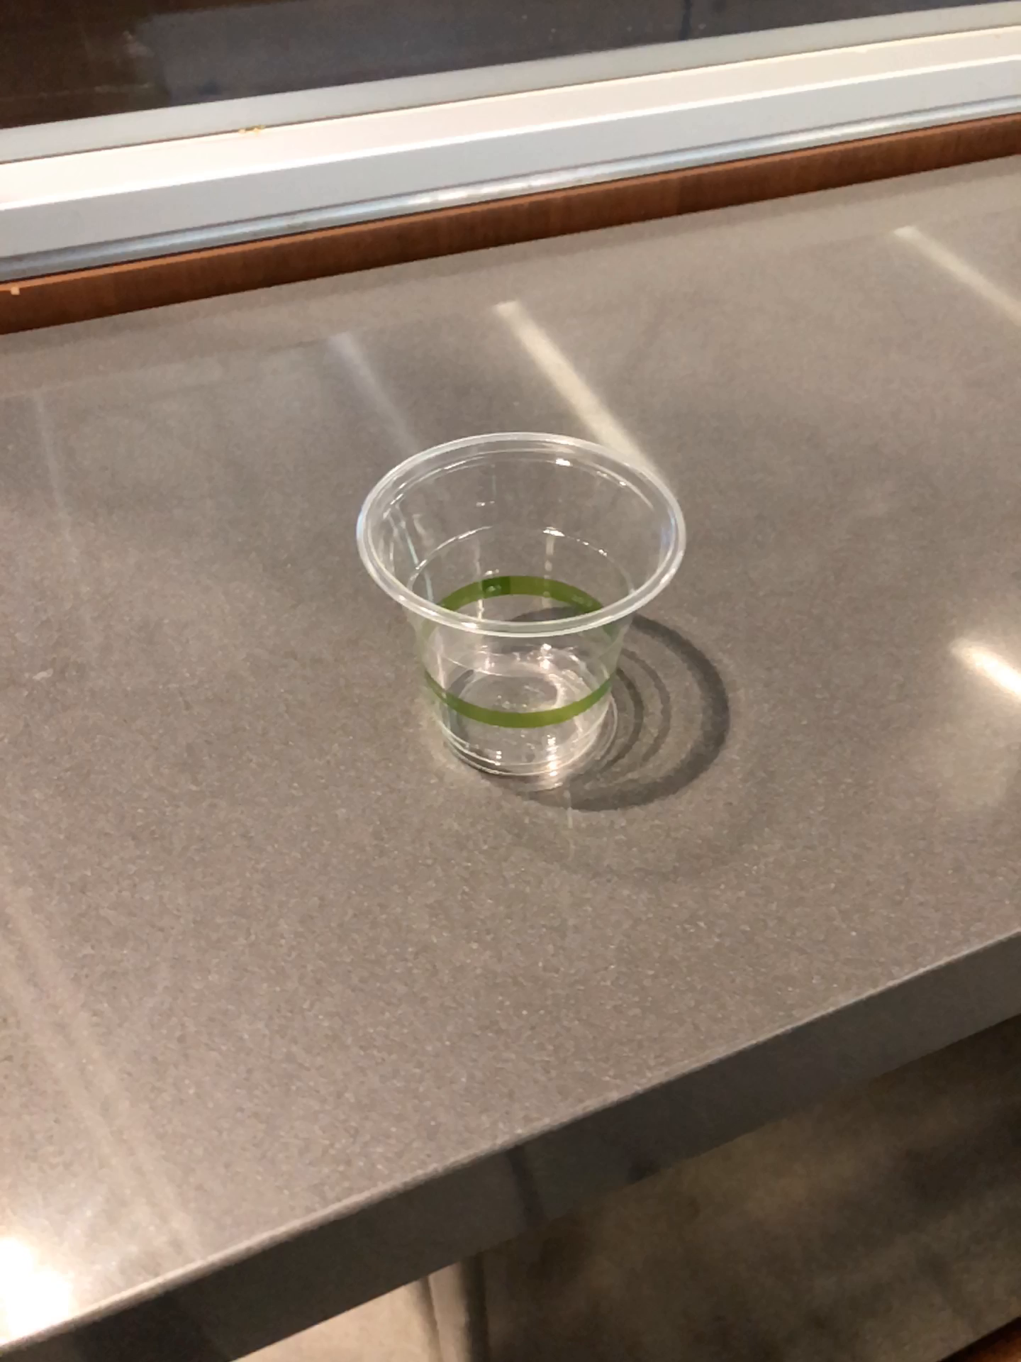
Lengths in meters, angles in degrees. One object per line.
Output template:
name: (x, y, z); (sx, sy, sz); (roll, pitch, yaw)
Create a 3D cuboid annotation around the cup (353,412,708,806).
cup: (0.006, -0.018, 0.271); (0.070, 0.060, 0.070); (0, 43, 0)
